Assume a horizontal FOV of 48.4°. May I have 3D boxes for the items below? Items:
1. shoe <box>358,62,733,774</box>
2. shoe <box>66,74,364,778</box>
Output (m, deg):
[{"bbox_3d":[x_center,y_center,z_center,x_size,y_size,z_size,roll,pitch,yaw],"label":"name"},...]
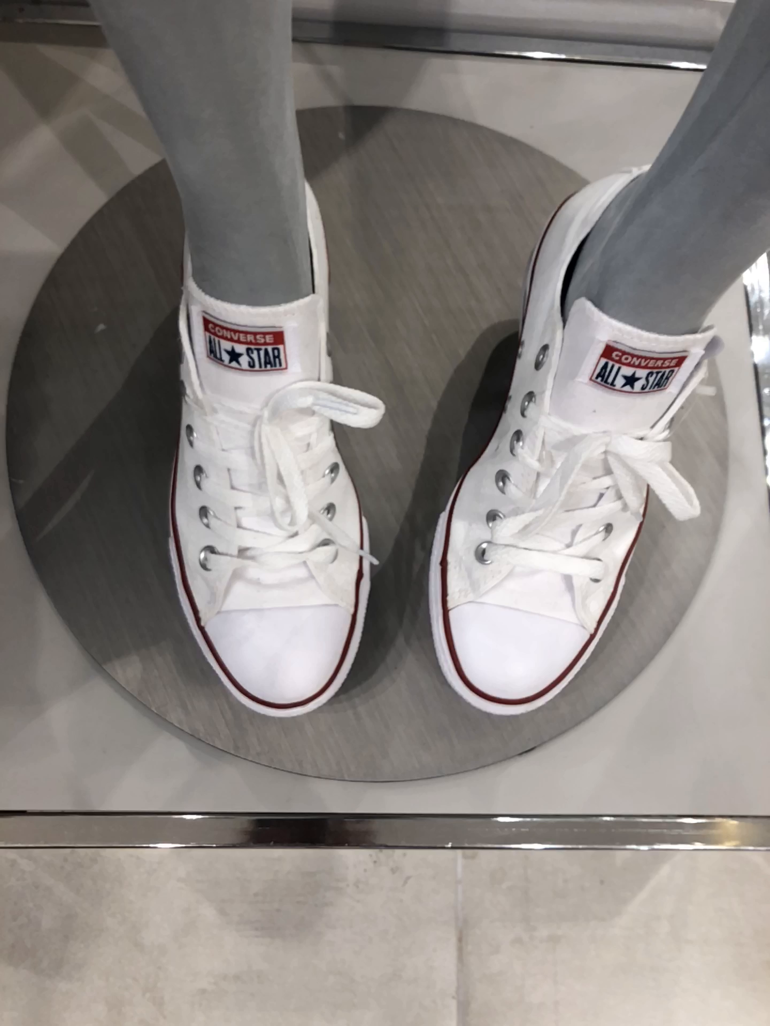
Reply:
[{"bbox_3d":[0.066,-0.040,0.399,0.110,0.090,0.280,10,88,-1],"label":"shoe"},{"bbox_3d":[-0.070,-0.036,0.378,0.100,0.090,0.270,-3,89,-5],"label":"shoe"}]
